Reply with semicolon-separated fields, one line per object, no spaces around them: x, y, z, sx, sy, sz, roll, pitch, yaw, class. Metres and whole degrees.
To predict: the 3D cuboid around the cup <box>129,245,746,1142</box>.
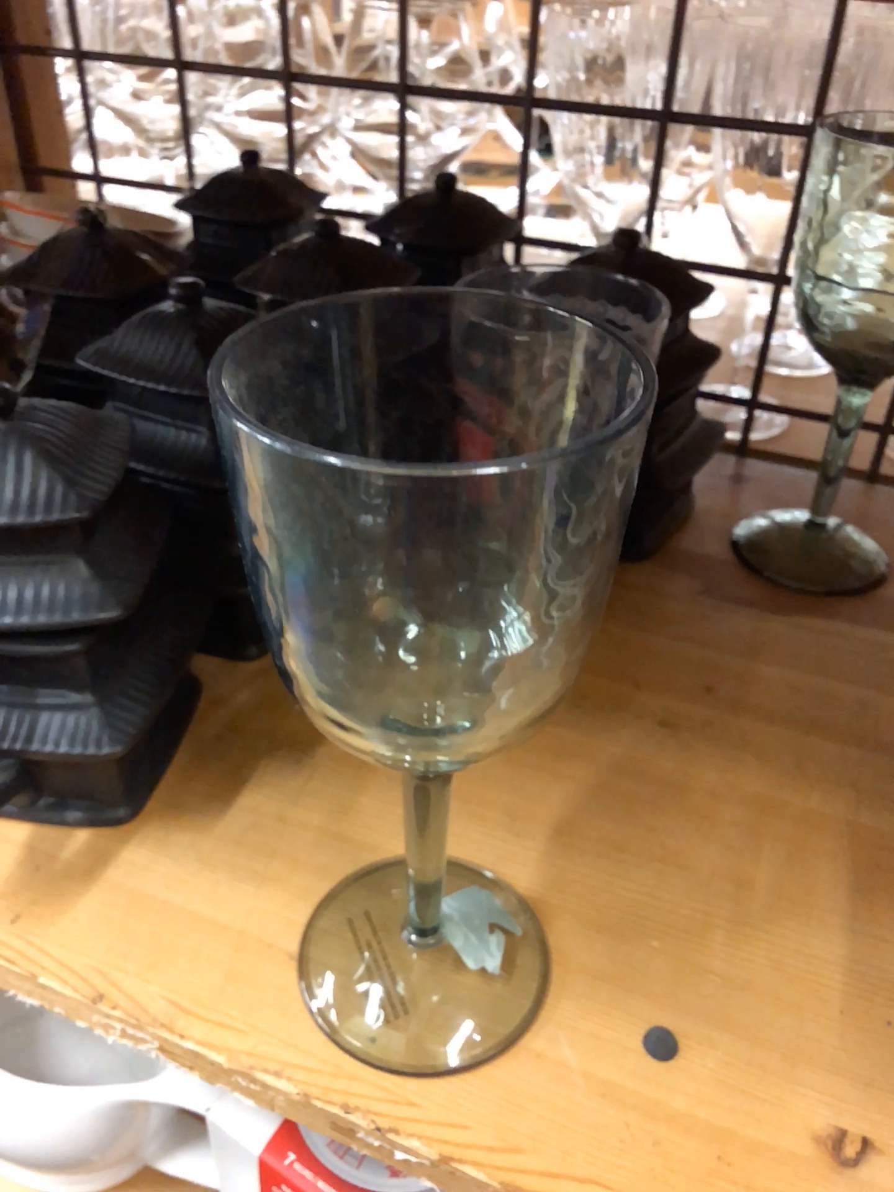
-0.001;0.029;0.269;0.091;0.204;0.094;1;36;-1;cup
